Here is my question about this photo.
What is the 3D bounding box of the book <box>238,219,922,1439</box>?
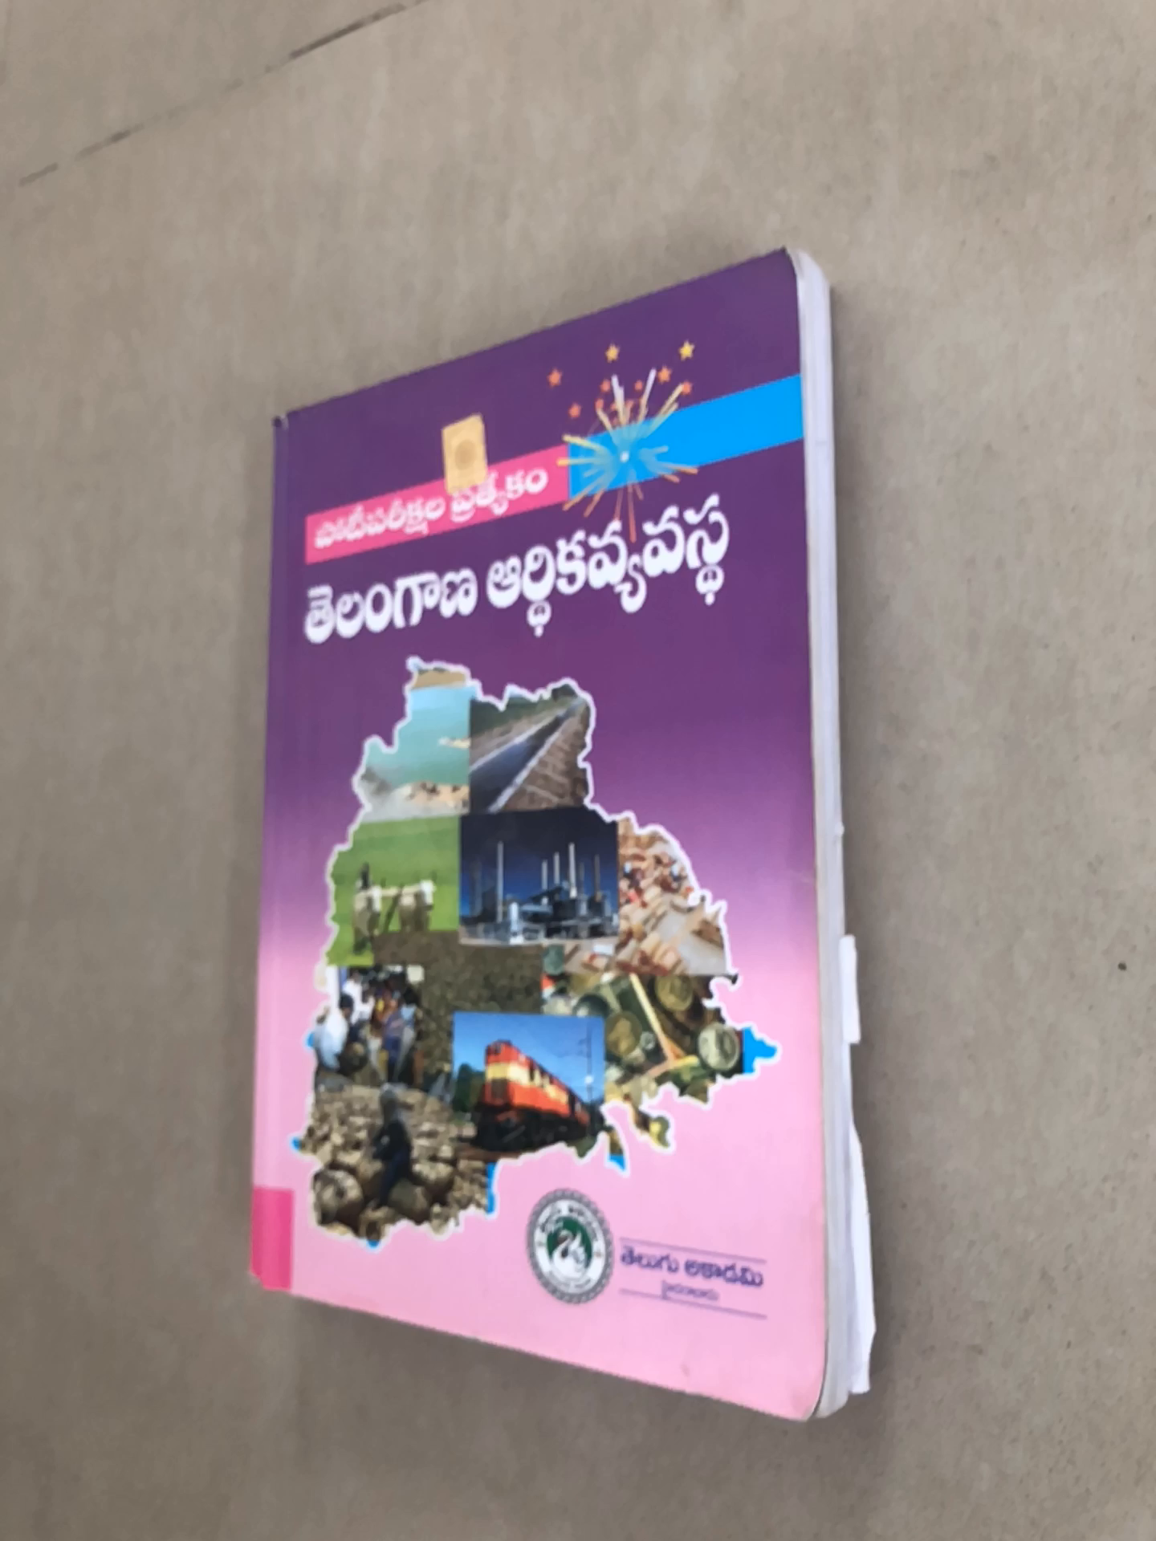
[{"bbox_3d":[-0.012,0.015,0.355,0.192,0.040,0.268,-5,84,35],"label":"book"}]
